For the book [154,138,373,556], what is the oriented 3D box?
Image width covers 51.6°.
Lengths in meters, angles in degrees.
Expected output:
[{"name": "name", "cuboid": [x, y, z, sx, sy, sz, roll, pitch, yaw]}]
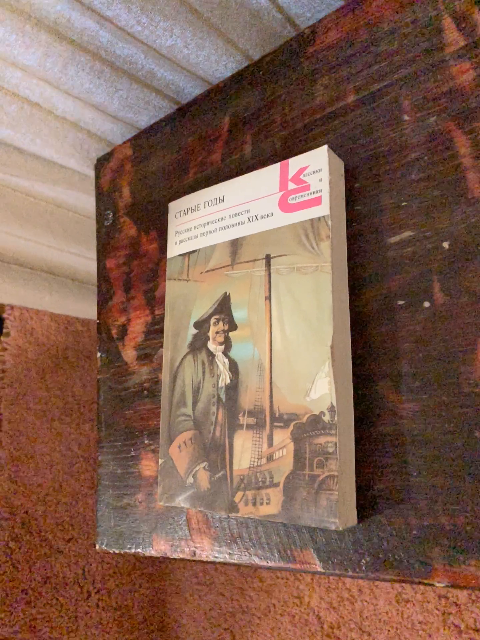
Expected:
[{"name": "book", "cuboid": [0.007, 0.013, 0.281, 0.124, 0.026, 0.197, -8, 77, 38]}]
